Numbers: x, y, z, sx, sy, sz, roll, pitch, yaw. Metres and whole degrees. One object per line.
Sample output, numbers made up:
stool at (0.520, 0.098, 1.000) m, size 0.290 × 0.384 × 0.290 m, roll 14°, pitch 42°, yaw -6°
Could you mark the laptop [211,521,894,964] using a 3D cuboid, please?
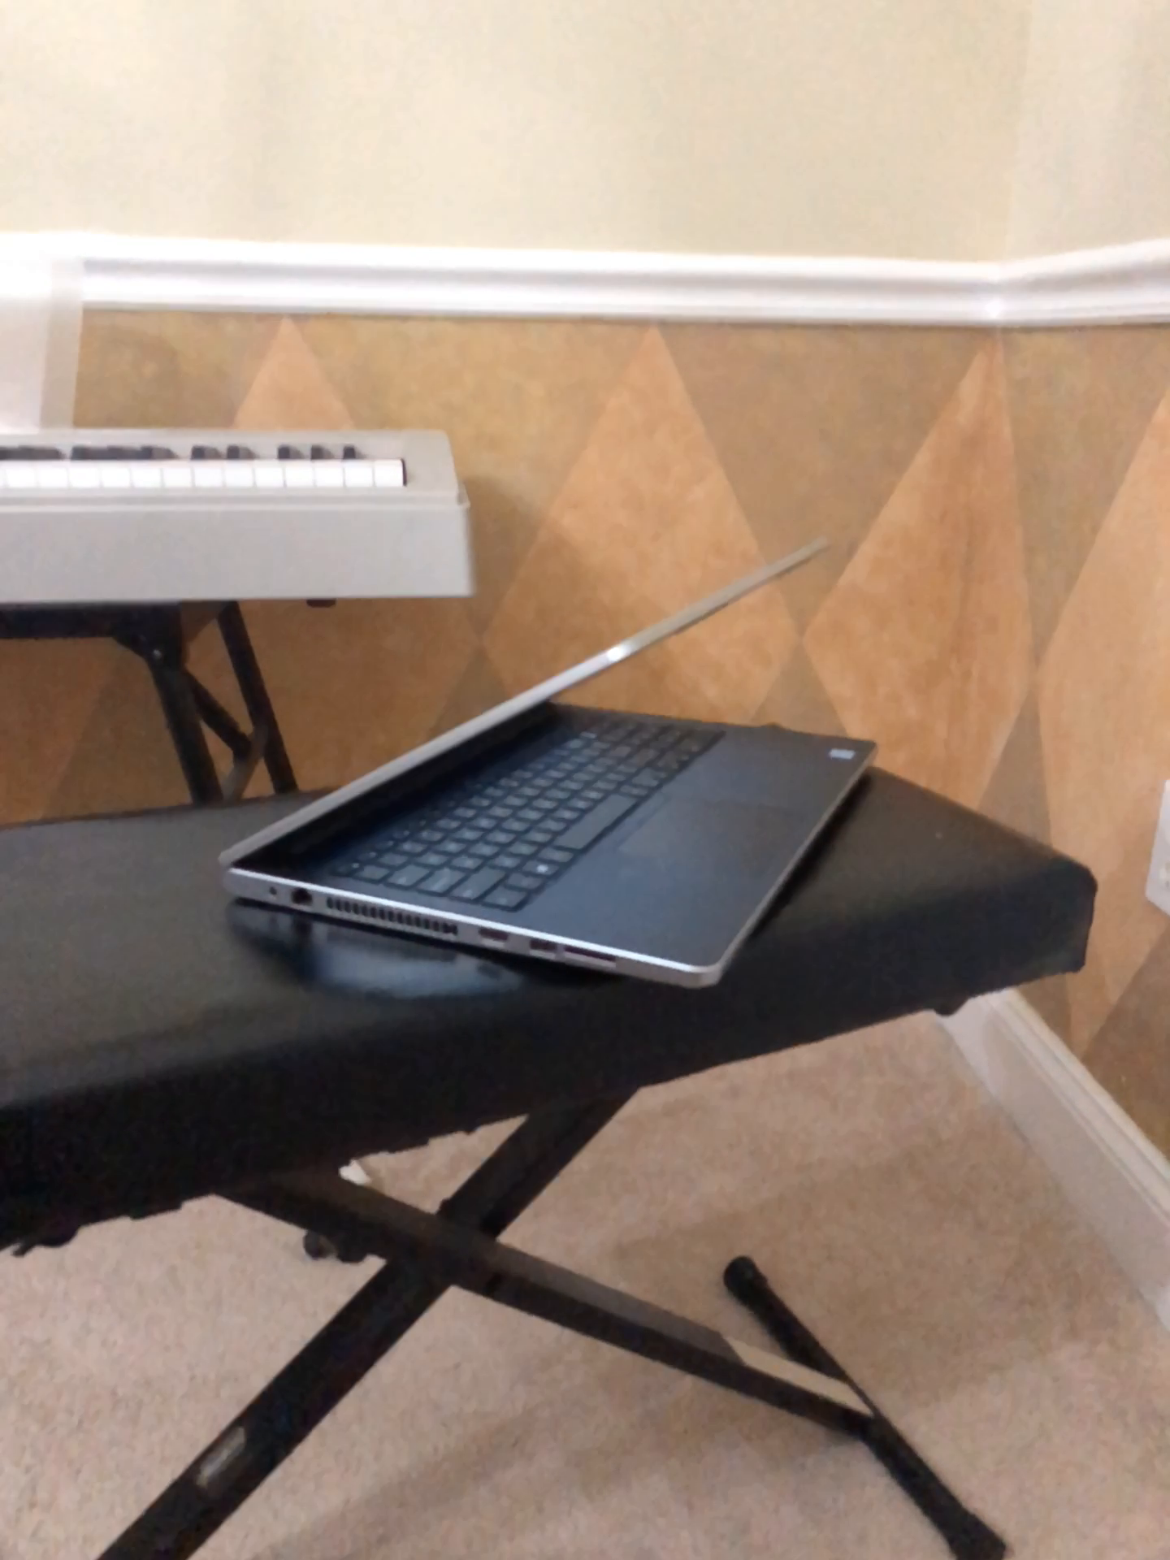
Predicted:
laptop at (0.012, -0.055, 0.763) m, size 0.261 × 0.136 × 0.377 m, roll 9°, pitch 20°, yaw 21°
